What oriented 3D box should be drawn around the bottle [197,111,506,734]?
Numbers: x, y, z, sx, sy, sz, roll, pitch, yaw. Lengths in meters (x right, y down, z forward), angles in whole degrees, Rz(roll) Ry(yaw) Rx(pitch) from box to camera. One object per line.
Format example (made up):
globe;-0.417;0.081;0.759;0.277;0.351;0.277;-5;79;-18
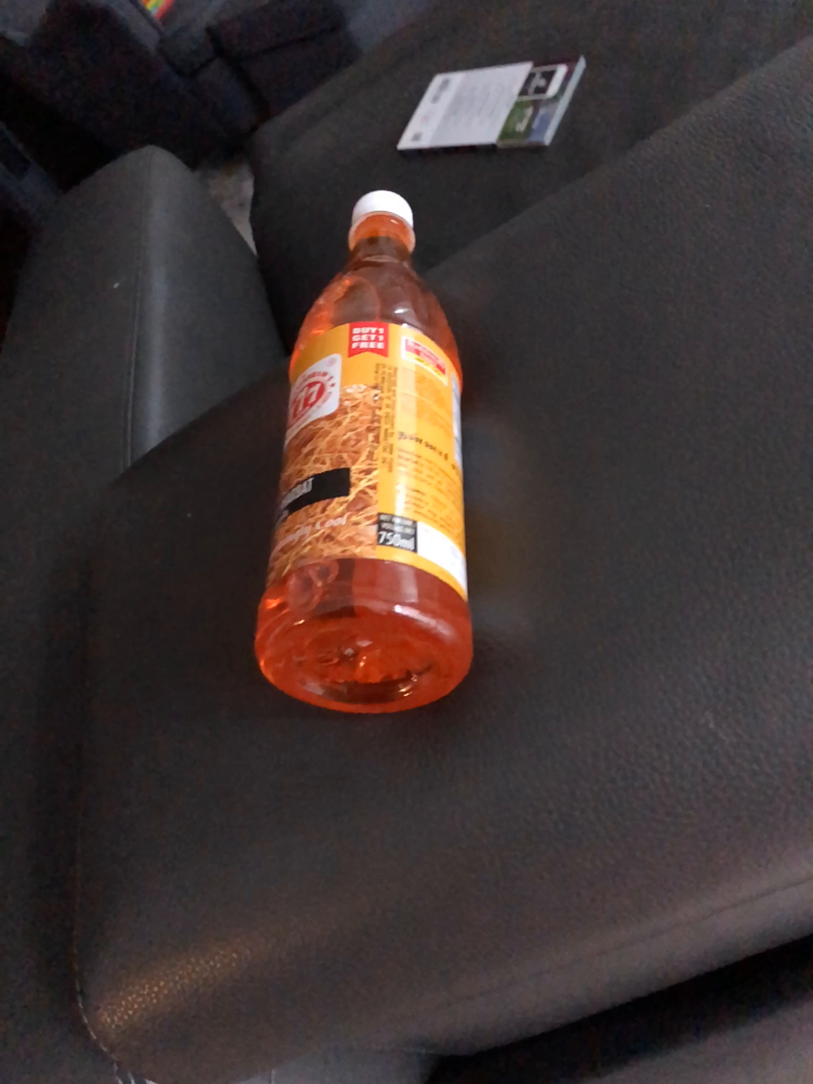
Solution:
bottle;-0.018;-0.068;0.397;0.080;0.070;0.280;-31;42;34
